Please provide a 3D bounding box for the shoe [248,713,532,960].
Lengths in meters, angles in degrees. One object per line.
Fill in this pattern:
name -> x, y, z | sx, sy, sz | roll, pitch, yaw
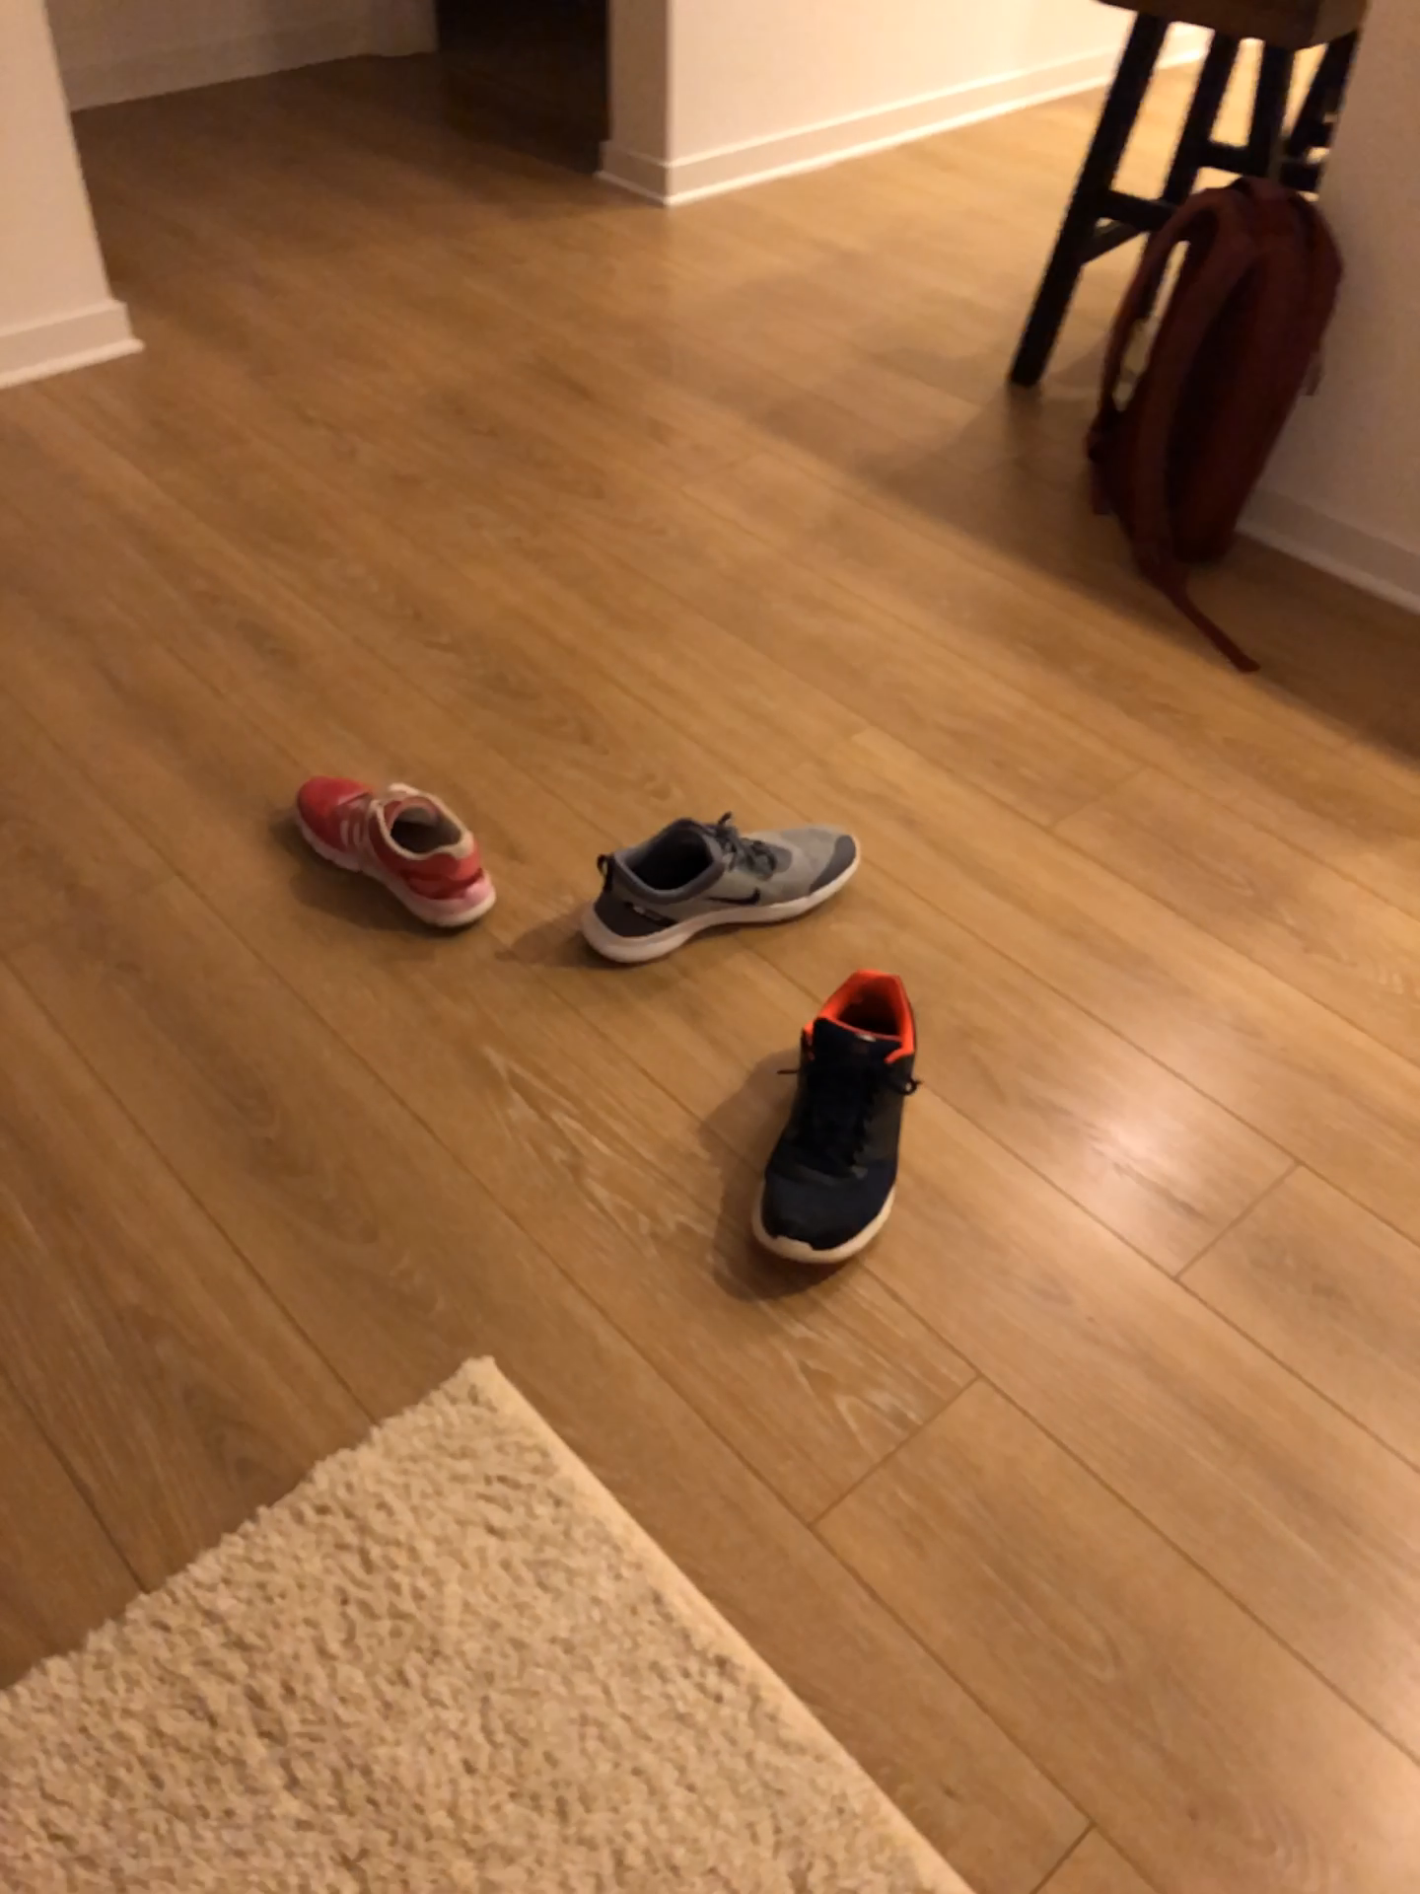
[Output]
shoe -> -0.328, -0.119, 1.611 | 0.281, 0.089, 0.131 | 33, 51, 28

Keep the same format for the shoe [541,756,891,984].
shoe -> 0.006, -0.082, 1.567 | 0.321, 0.080, 0.130 | -19, 47, -21

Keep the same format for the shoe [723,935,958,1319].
shoe -> 0.117, 0.143, 1.349 | 0.130, 0.099, 0.322 | 12, 44, 10
